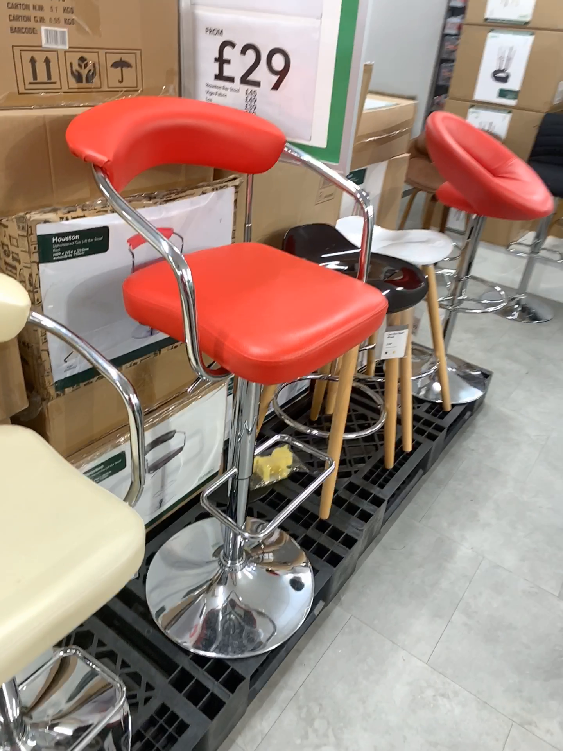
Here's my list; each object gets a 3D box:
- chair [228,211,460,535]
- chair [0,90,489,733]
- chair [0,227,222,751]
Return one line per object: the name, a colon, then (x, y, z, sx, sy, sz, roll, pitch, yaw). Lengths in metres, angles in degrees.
chair: (0.151, -0.026, 1.619, 0.389, 0.709, 0.428, 25, 36, 28)
chair: (-0.072, 0.035, 1.109, 0.530, 0.977, 0.529, 24, 35, 27)
chair: (-0.436, 0.309, 0.818, 0.460, 0.838, 0.499, 24, 35, 27)
